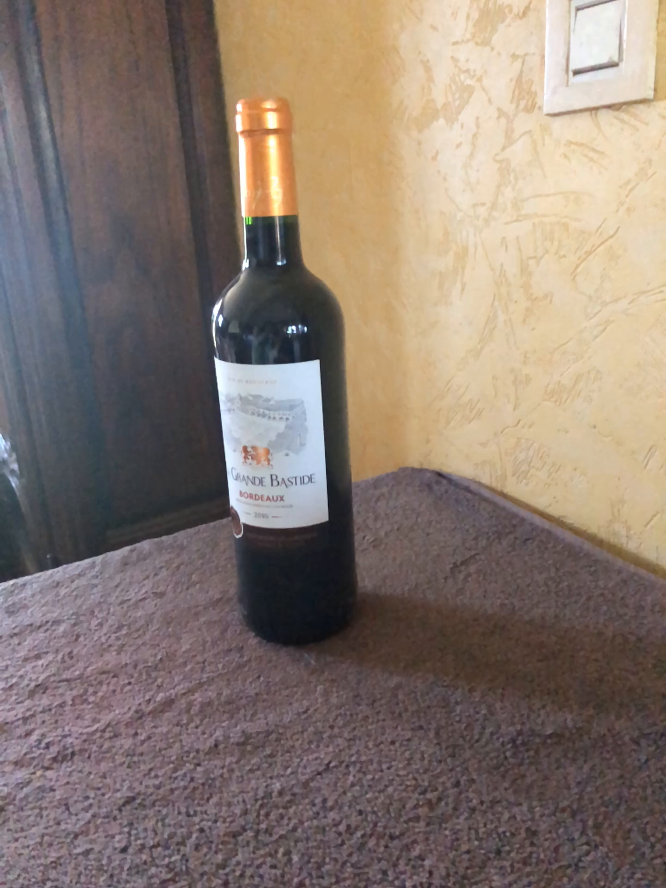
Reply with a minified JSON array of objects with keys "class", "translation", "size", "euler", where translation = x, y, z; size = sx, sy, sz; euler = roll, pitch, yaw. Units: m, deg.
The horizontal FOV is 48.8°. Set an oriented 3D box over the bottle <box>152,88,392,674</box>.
[{"class":"bottle","translation":[-0.025,-0.029,0.417],"size":[0.080,0.299,0.080],"euler":[-3,18,1]}]
